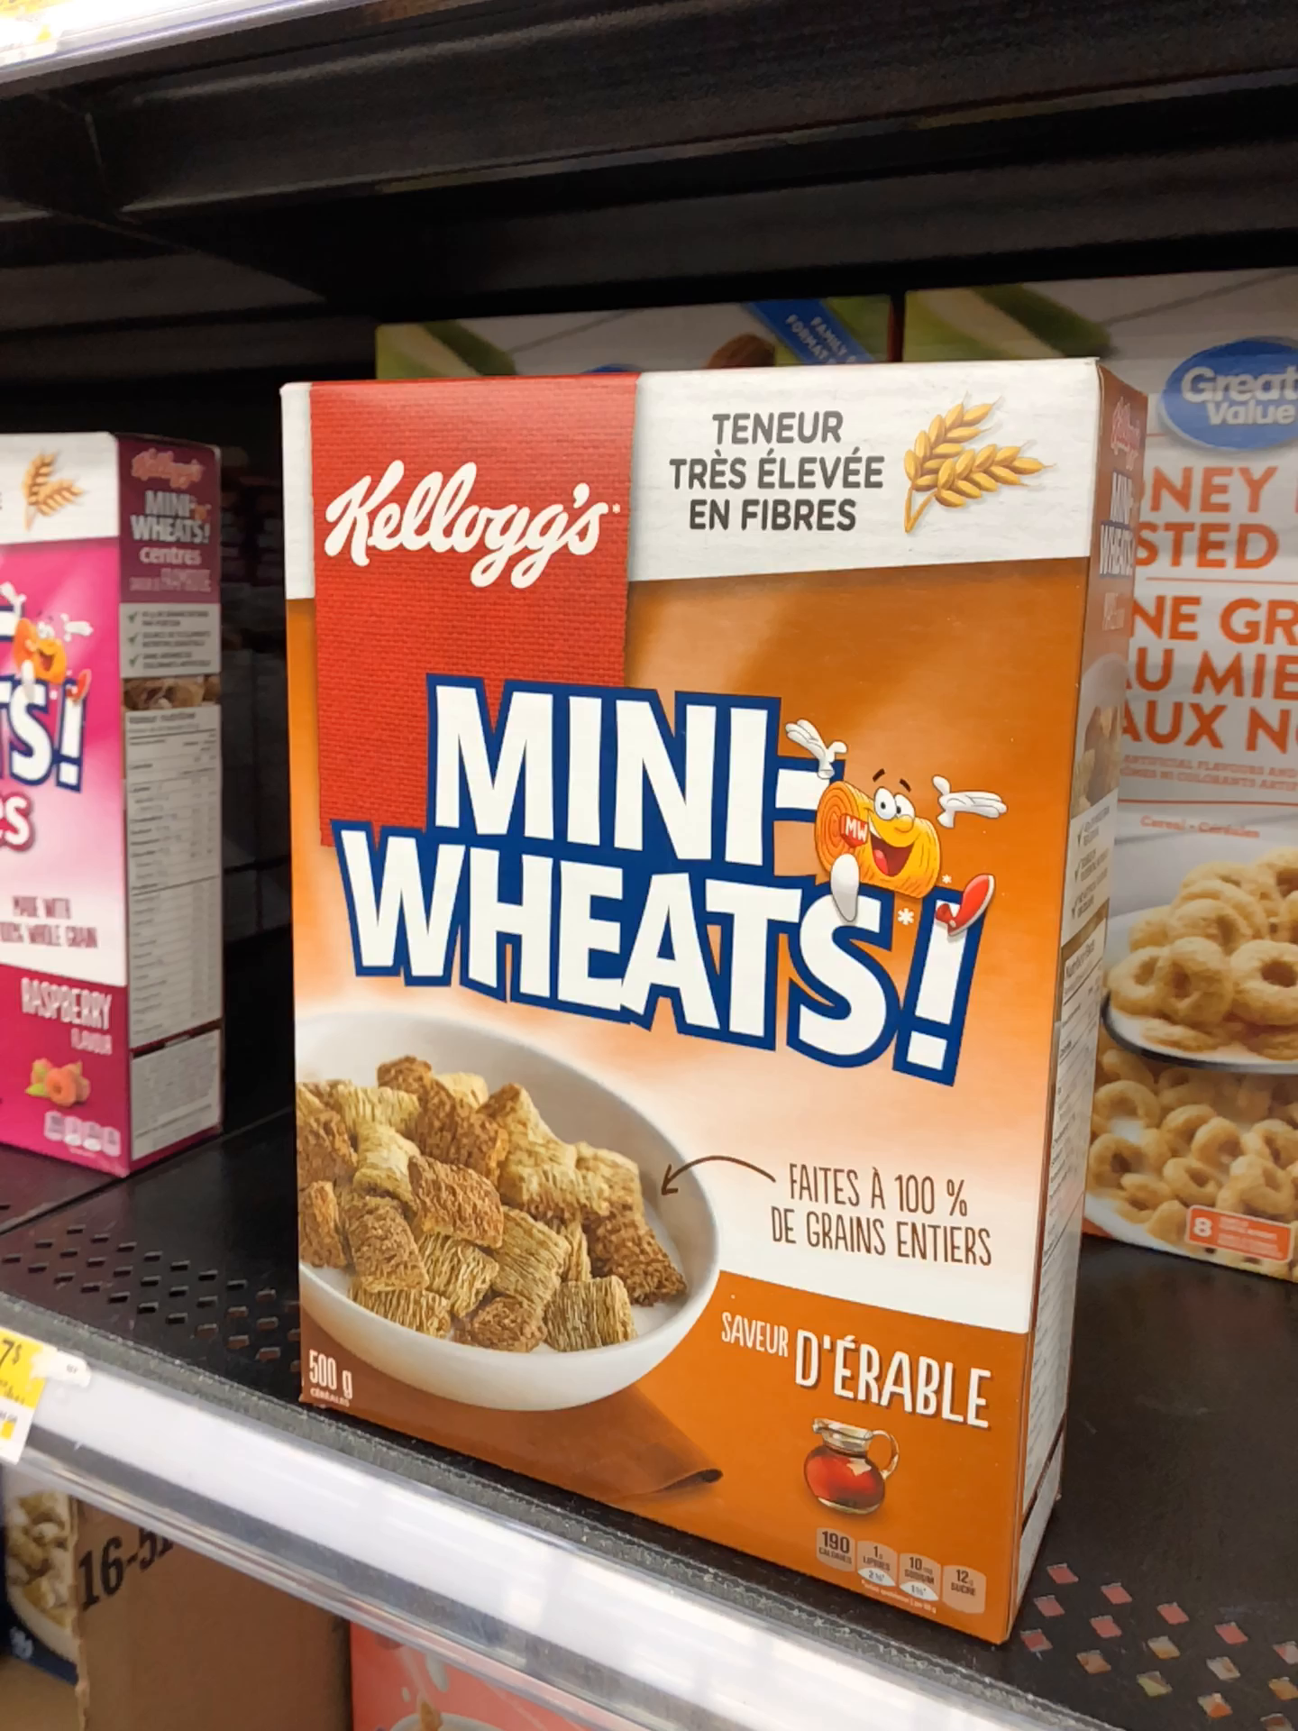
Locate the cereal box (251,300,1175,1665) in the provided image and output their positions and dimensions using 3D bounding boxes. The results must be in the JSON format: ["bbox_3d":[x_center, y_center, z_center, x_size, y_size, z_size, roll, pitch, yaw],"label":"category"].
[{"bbox_3d":[0.006,0.018,0.346,0.200,0.269,0.060,7,12,27],"label":"cereal box"}]
